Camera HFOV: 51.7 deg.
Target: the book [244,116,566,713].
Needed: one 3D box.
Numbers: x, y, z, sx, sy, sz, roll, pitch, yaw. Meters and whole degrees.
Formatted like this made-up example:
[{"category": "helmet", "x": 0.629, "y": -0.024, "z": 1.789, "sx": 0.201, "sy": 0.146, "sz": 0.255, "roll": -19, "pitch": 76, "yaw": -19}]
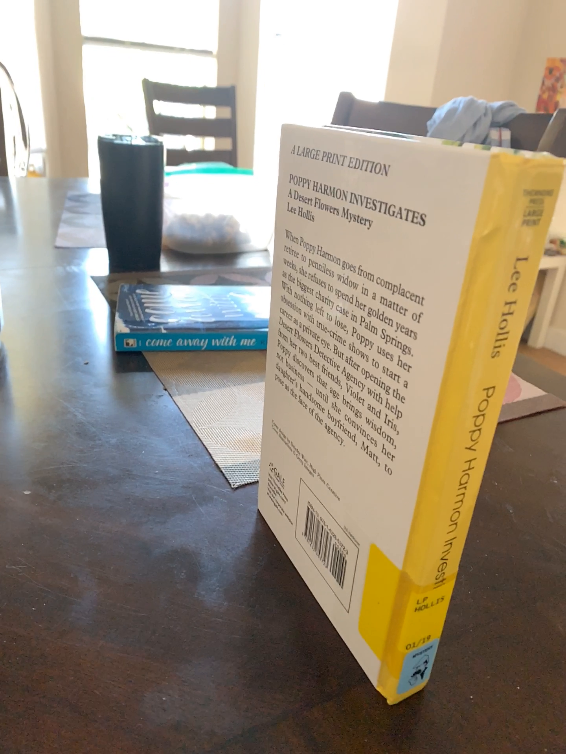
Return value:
[{"category": "book", "x": 0.035, "y": 0.007, "z": 0.267, "sx": 0.040, "sy": 0.219, "sz": 0.154, "roll": -9, "pitch": 29, "yaw": -25}]
